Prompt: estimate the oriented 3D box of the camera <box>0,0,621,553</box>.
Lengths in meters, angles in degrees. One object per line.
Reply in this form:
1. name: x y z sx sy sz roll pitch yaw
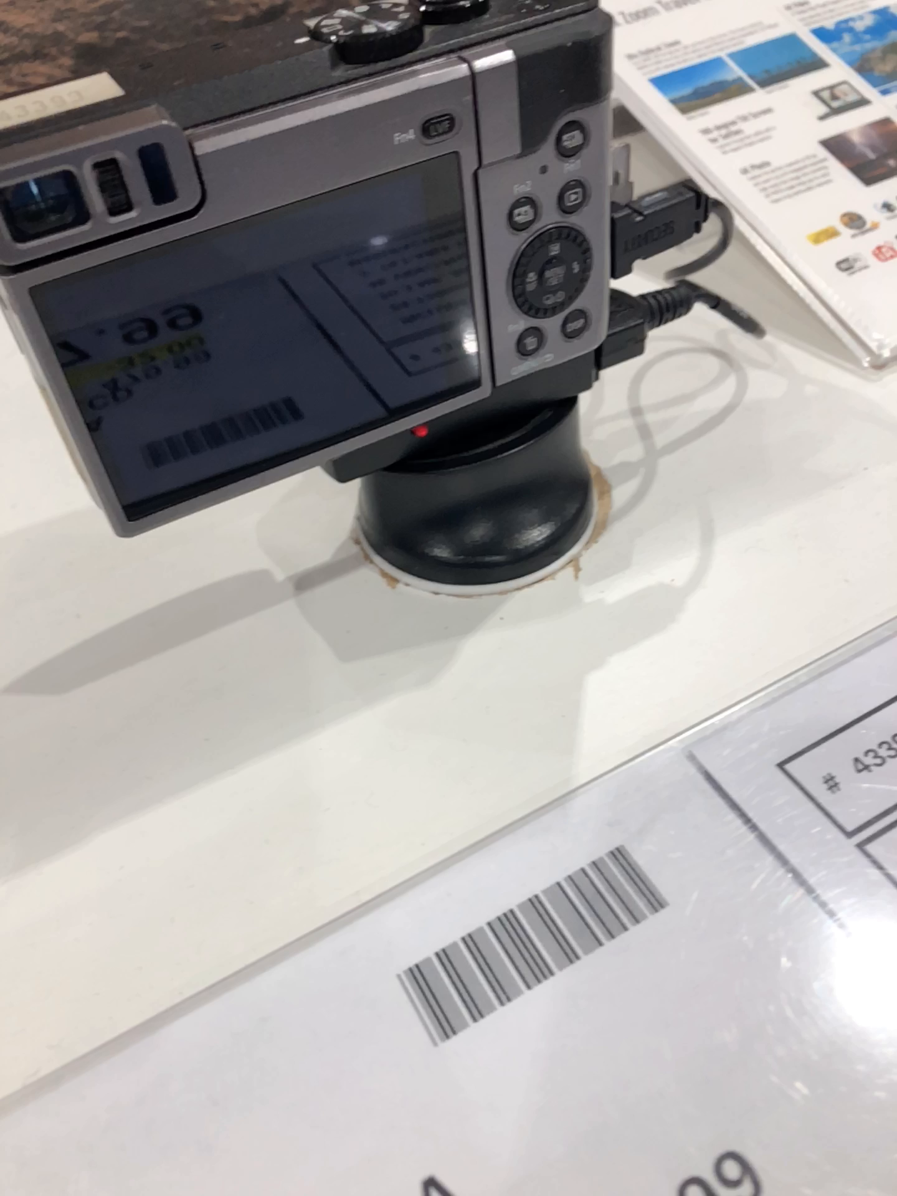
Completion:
1. camera: -0.023 -0.060 0.180 0.107 0.065 0.030 -24 47 -15
